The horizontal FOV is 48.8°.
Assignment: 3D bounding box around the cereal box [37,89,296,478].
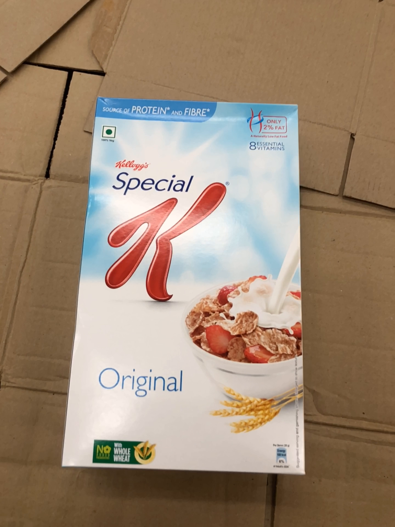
[{"bbox_3d":[-0.015,0.011,0.387,0.180,0.100,0.300,2,76,0],"label":"cereal box"}]
